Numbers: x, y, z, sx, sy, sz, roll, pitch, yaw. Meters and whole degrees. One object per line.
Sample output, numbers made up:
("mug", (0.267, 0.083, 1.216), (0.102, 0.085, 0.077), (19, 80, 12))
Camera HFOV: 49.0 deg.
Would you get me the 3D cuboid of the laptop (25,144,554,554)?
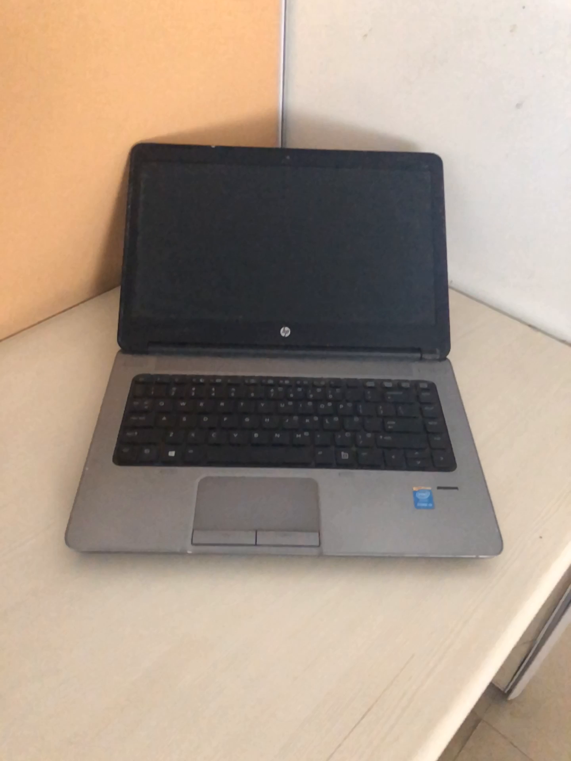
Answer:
("laptop", (0.004, -0.060, 0.556), (0.316, 0.125, 0.393), (2, 43, -1))
